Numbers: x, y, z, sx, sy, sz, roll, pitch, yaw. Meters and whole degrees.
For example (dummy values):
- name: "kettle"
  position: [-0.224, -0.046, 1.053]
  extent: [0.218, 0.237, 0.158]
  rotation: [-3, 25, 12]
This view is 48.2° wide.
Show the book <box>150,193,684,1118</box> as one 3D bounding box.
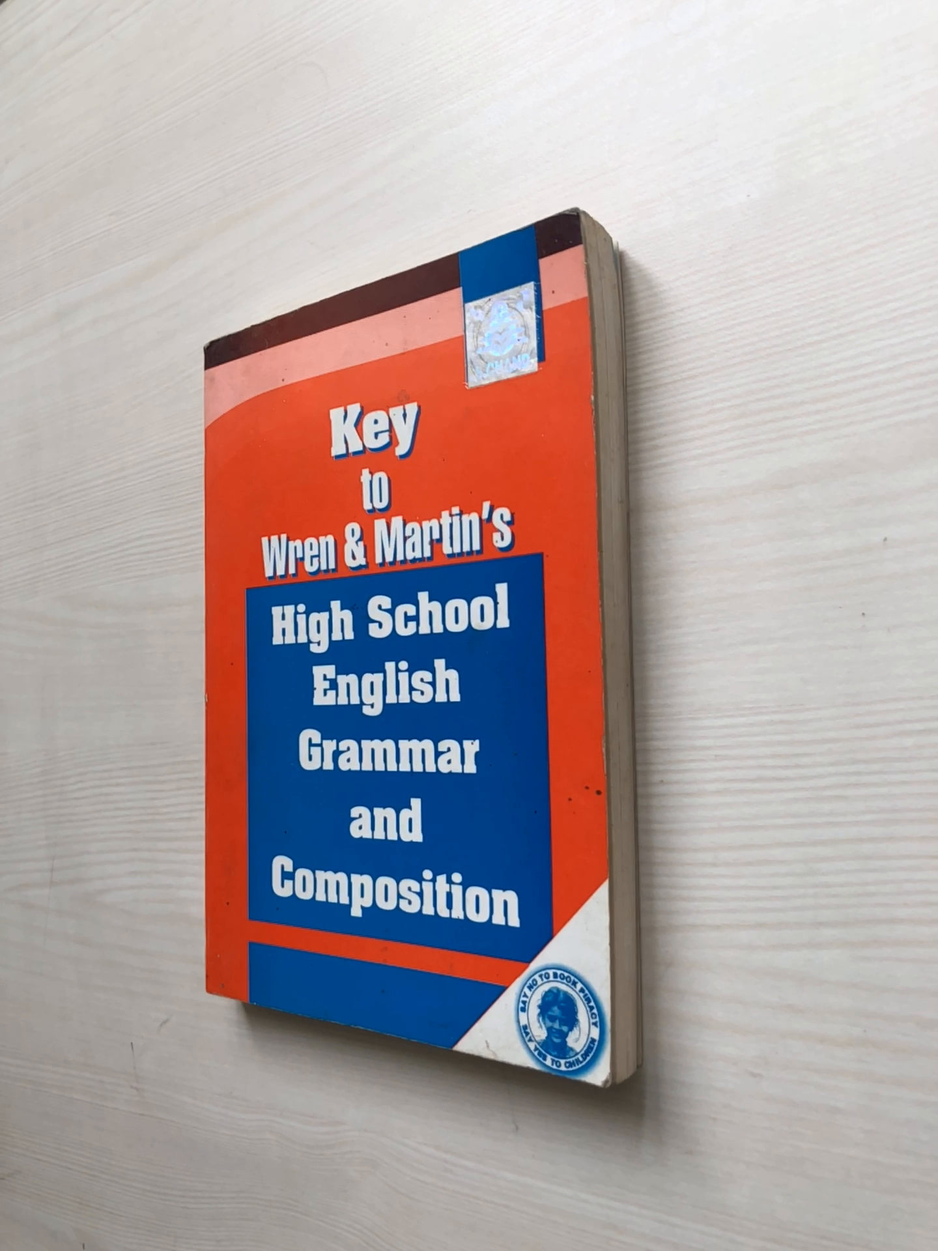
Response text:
- name: "book"
  position: [-0.019, 0.007, 0.243]
  extent: [0.131, 0.030, 0.170]
  rotation: [-3, 86, 35]
